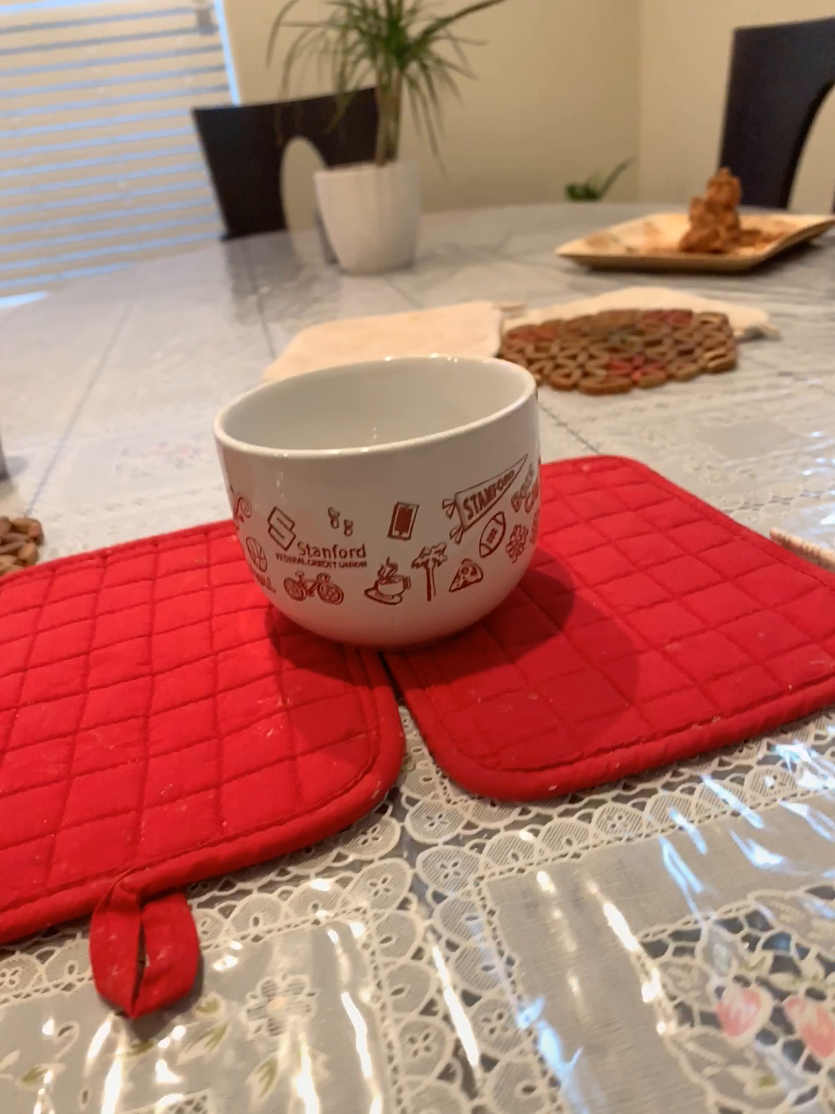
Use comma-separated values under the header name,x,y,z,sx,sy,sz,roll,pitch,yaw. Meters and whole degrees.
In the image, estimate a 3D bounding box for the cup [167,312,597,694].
name,x,y,z,sx,sy,sz,roll,pitch,yaw
cup,-0.010,-0.030,0.325,0.120,0.079,0.141,-7,27,1
